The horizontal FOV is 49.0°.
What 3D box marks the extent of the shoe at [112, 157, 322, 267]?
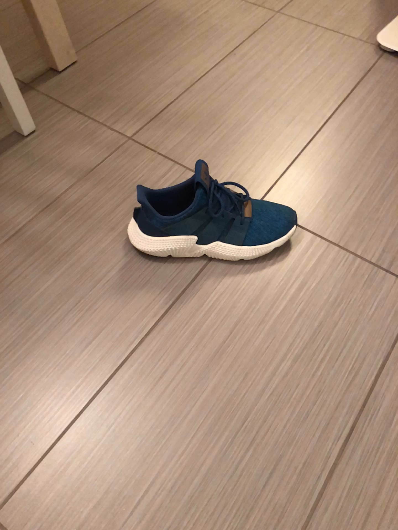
[{"bbox_3d":[0.024,-0.081,0.685,0.290,0.119,0.112,-2,56,-1],"label":"shoe"}]
